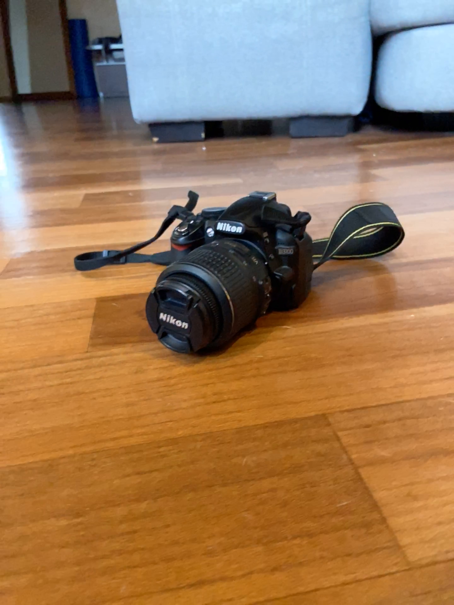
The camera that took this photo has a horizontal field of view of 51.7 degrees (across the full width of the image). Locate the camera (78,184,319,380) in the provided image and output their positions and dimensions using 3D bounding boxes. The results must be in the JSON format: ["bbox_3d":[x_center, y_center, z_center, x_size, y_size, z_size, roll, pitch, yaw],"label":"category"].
[{"bbox_3d":[-0.011,-0.032,0.385,0.121,0.090,0.162,12,29,28],"label":"camera"}]
